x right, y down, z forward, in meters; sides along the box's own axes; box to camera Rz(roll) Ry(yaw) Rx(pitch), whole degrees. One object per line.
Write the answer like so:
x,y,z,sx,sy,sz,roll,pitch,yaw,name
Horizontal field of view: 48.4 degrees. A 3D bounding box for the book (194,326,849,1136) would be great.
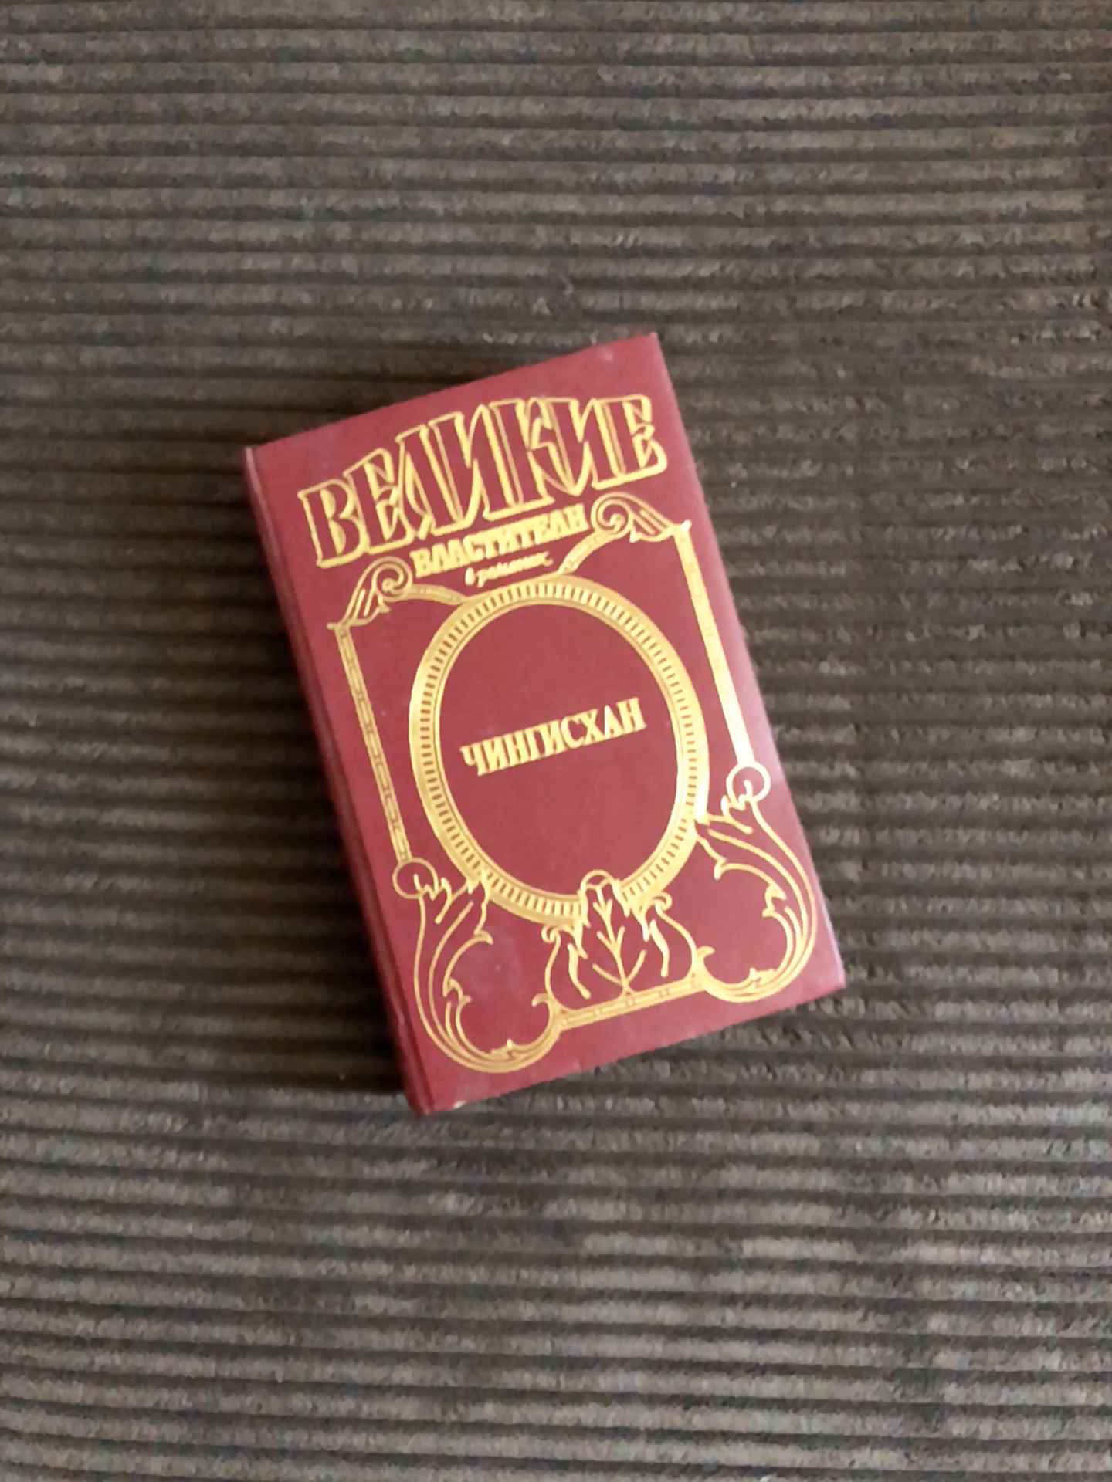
-0.011,-0.003,0.379,0.137,0.050,0.202,-16,87,-1,book
